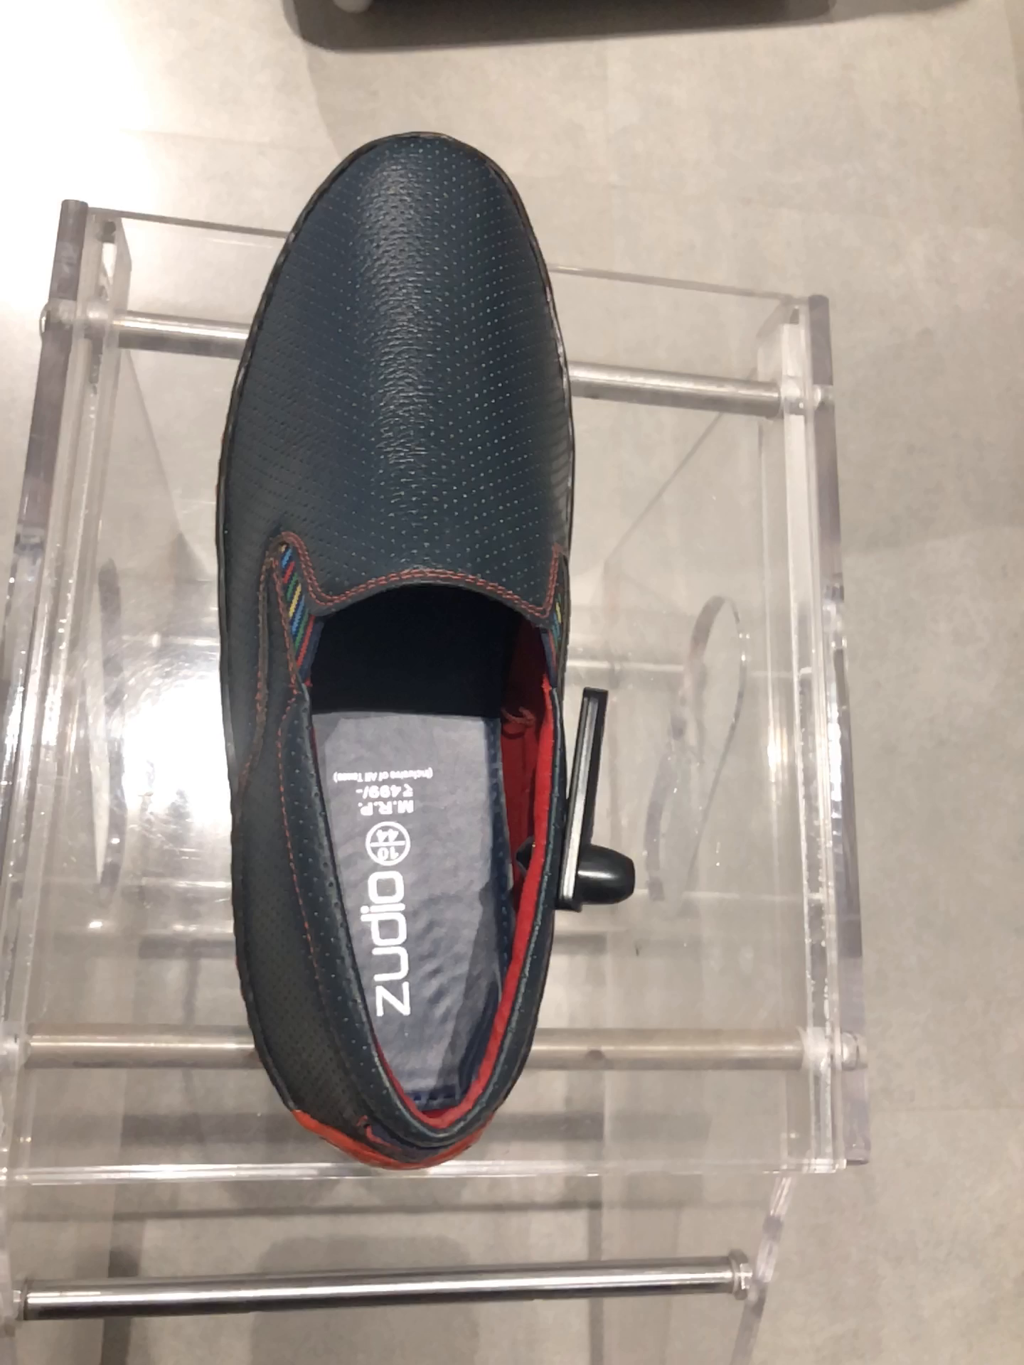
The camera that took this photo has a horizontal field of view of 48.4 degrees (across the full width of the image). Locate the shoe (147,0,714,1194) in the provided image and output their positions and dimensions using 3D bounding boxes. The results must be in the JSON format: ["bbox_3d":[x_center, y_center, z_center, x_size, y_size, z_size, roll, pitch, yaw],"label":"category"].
[{"bbox_3d":[-0.025,-0.025,0.300,0.110,0.100,0.270,1,76,-10],"label":"shoe"}]
